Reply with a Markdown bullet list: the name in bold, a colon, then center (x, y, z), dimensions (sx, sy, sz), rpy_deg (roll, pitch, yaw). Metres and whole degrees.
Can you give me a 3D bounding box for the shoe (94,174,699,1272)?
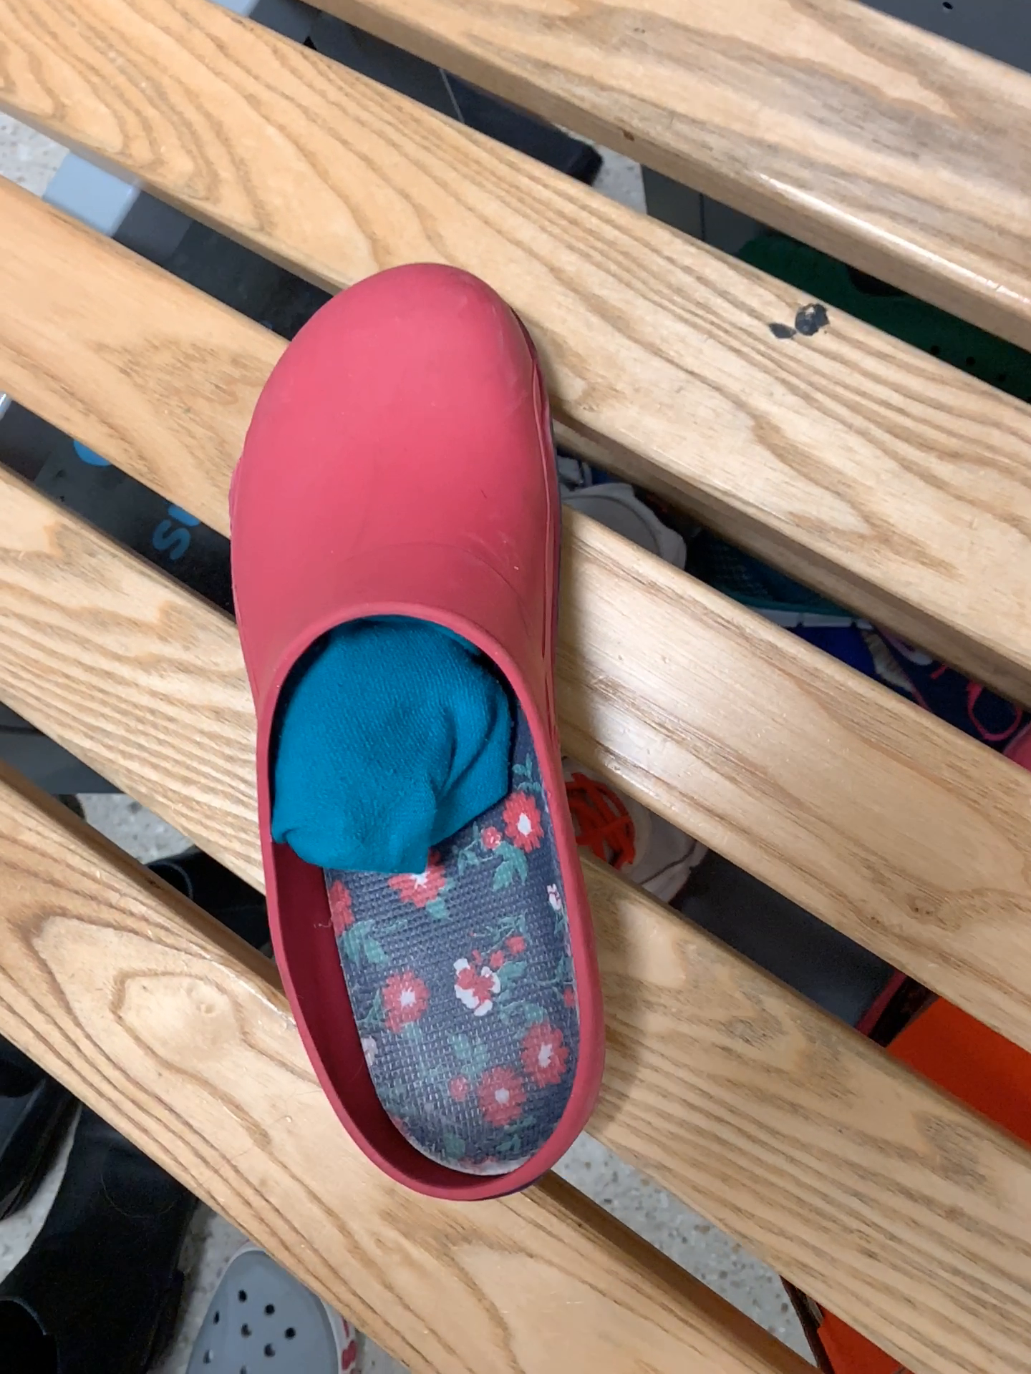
- **shoe**: center (-0.029, 0.008, 0.282), dimensions (0.106, 0.077, 0.238), rpy_deg (-12, 81, 10)
